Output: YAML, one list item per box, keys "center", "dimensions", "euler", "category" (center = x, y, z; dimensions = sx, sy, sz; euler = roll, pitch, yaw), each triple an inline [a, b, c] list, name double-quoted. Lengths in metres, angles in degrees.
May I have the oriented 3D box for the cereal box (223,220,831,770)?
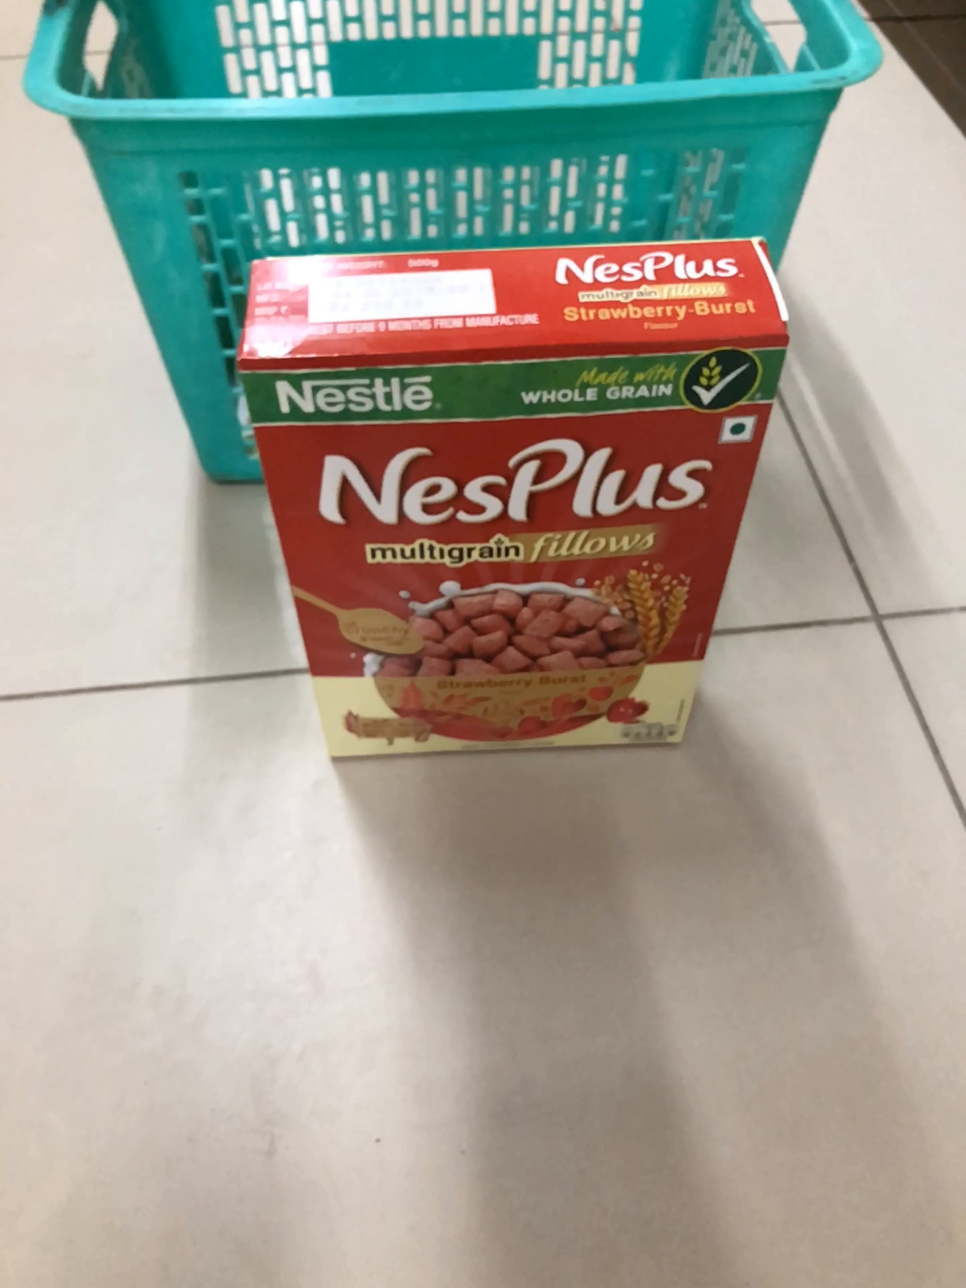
- center: [0.013, -0.043, 0.456]
  dimensions: [0.190, 0.258, 0.060]
  euler: [-2, 53, -2]
  category: "cereal box"
